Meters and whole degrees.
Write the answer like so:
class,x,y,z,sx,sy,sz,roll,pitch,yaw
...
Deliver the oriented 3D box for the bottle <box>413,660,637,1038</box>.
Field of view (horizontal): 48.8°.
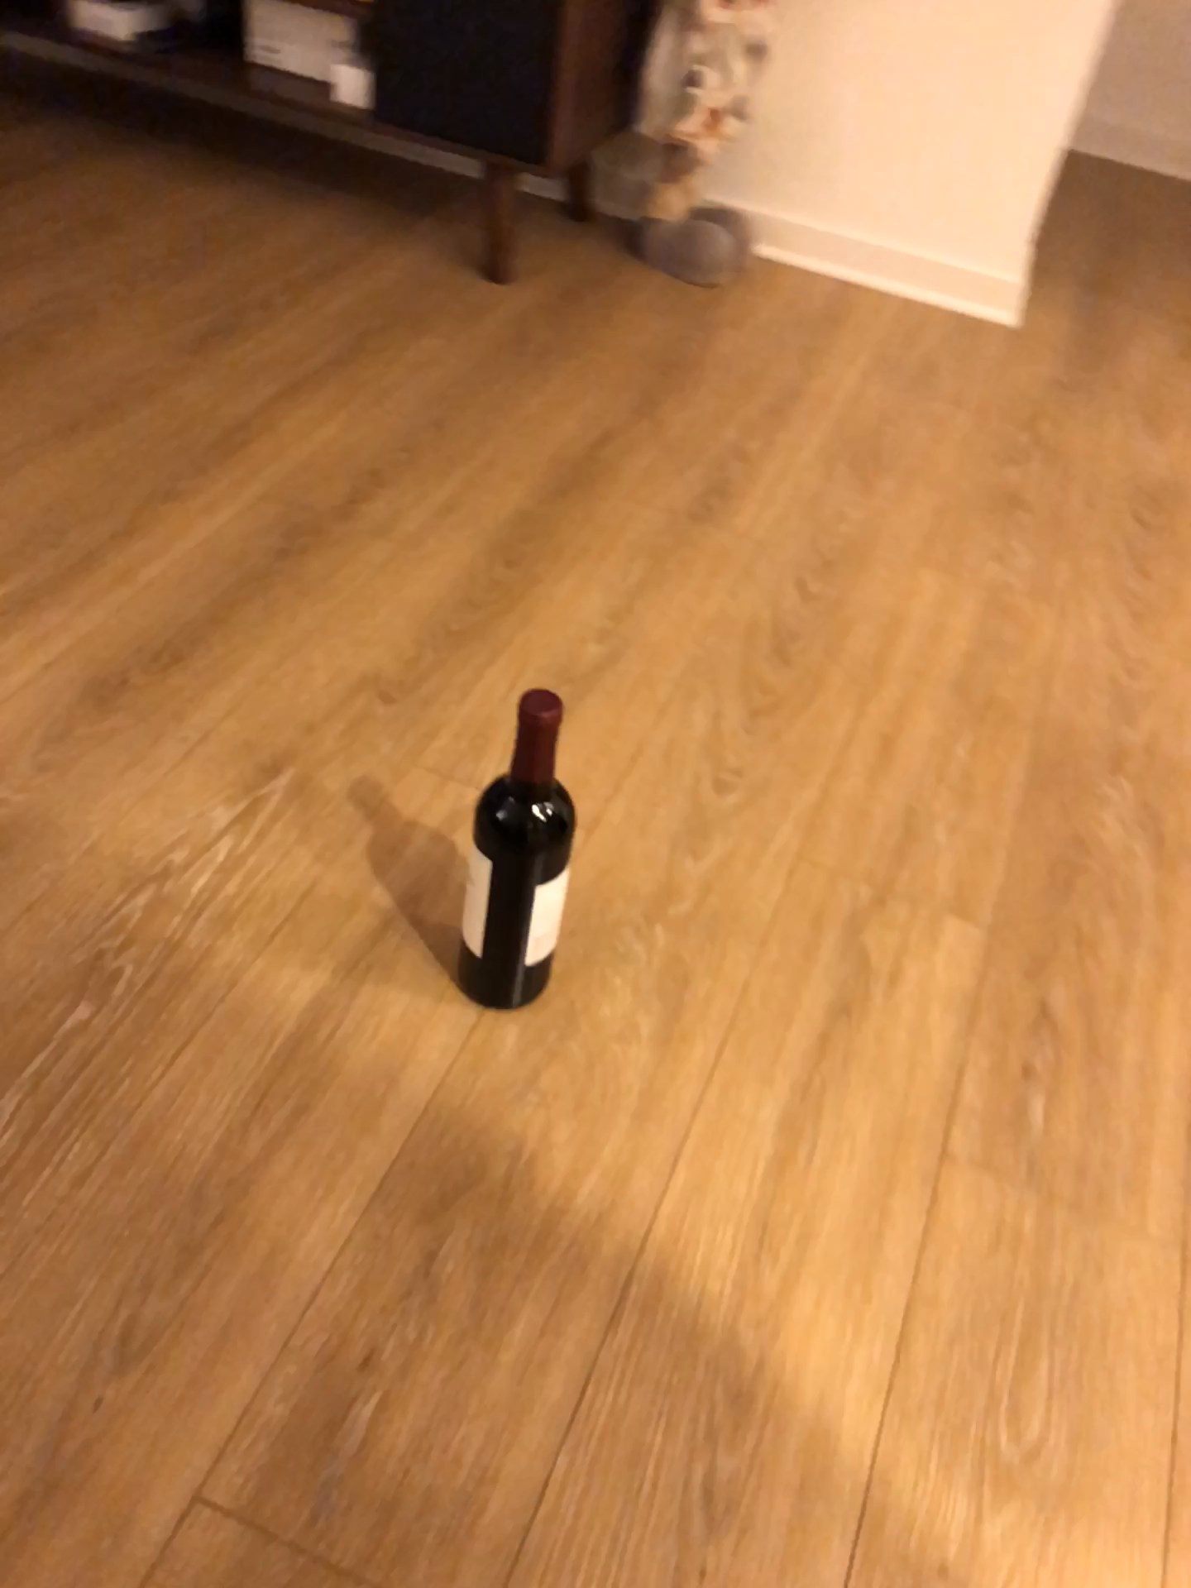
class,x,y,z,sx,sy,sz,roll,pitch,yaw
bottle,-0.060,0.047,1.001,0.100,0.259,0.111,31,46,21
